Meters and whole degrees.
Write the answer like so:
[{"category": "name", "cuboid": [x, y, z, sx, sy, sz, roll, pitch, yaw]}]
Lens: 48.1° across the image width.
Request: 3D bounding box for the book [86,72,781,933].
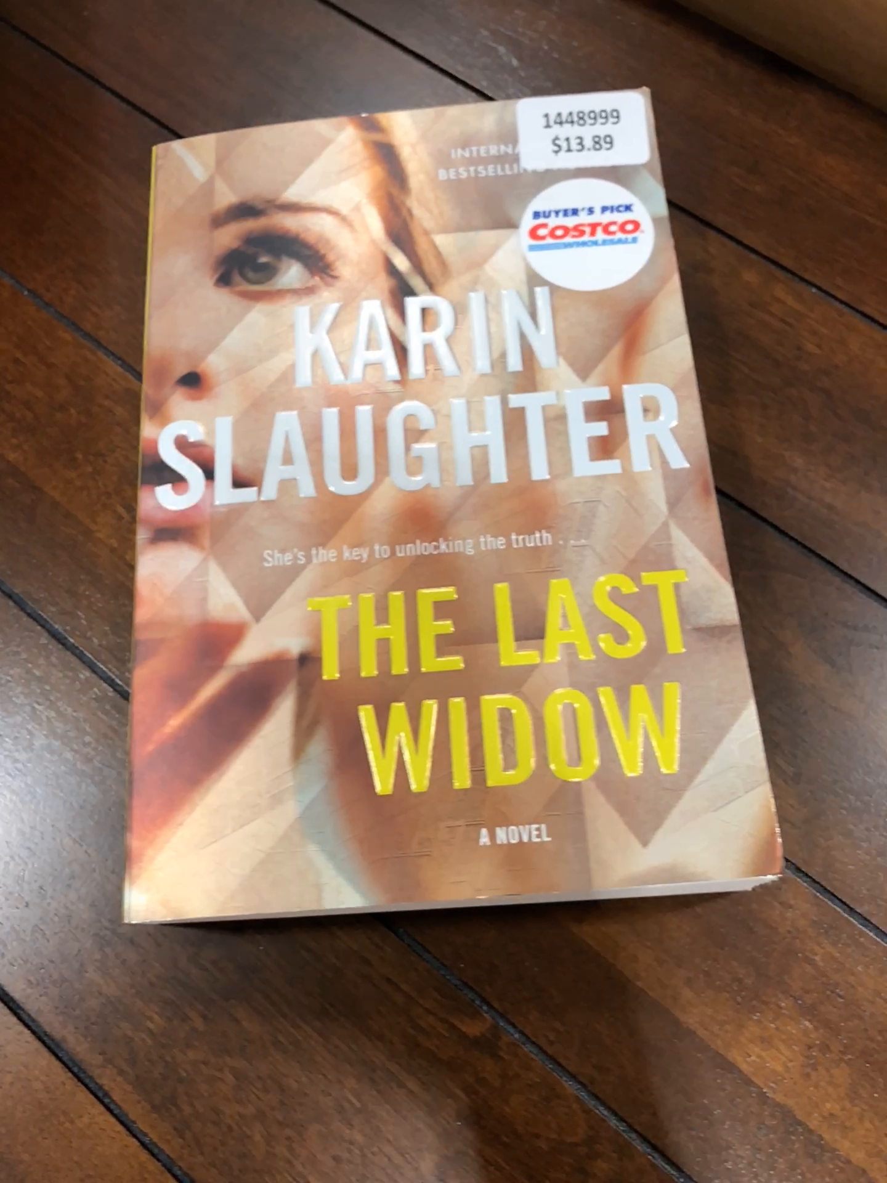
[{"category": "book", "cuboid": [-0.008, -0.031, 0.277, 0.154, 0.042, 0.230, -5, 70, 4]}]
